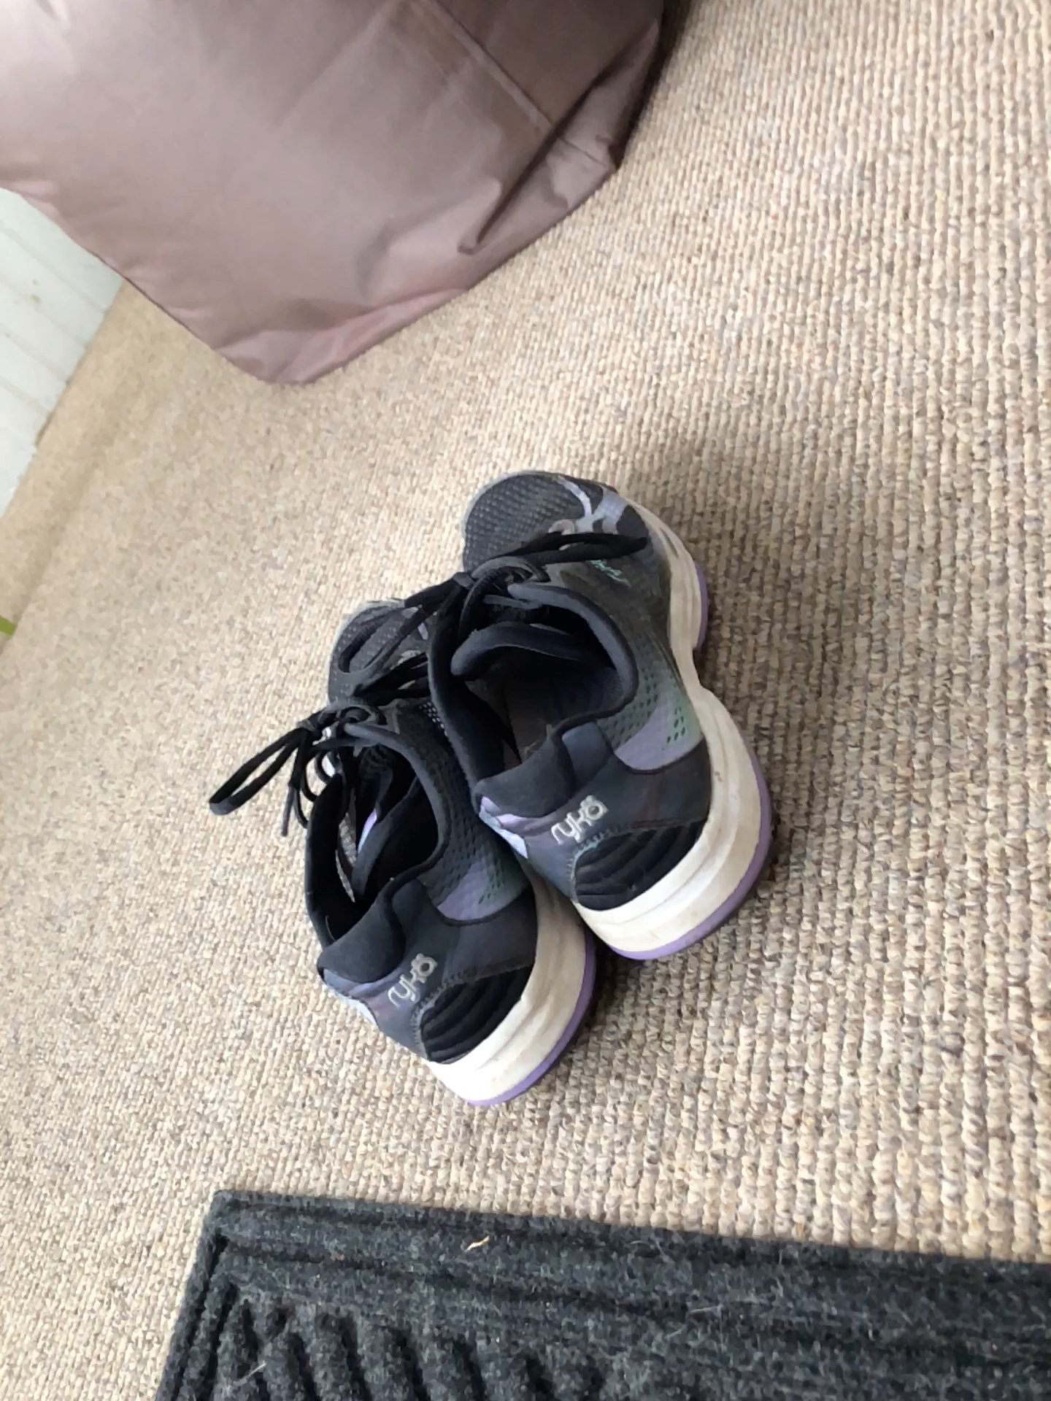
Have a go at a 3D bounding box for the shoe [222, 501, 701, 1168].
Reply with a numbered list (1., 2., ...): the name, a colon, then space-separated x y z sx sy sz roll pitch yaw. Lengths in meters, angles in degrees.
1. shoe: -0.044 0.041 0.495 0.110 0.103 0.258 -41 37 13

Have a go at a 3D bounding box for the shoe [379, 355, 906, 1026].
1. shoe: 0.029 -0.019 0.471 0.102 0.103 0.258 -39 38 16
